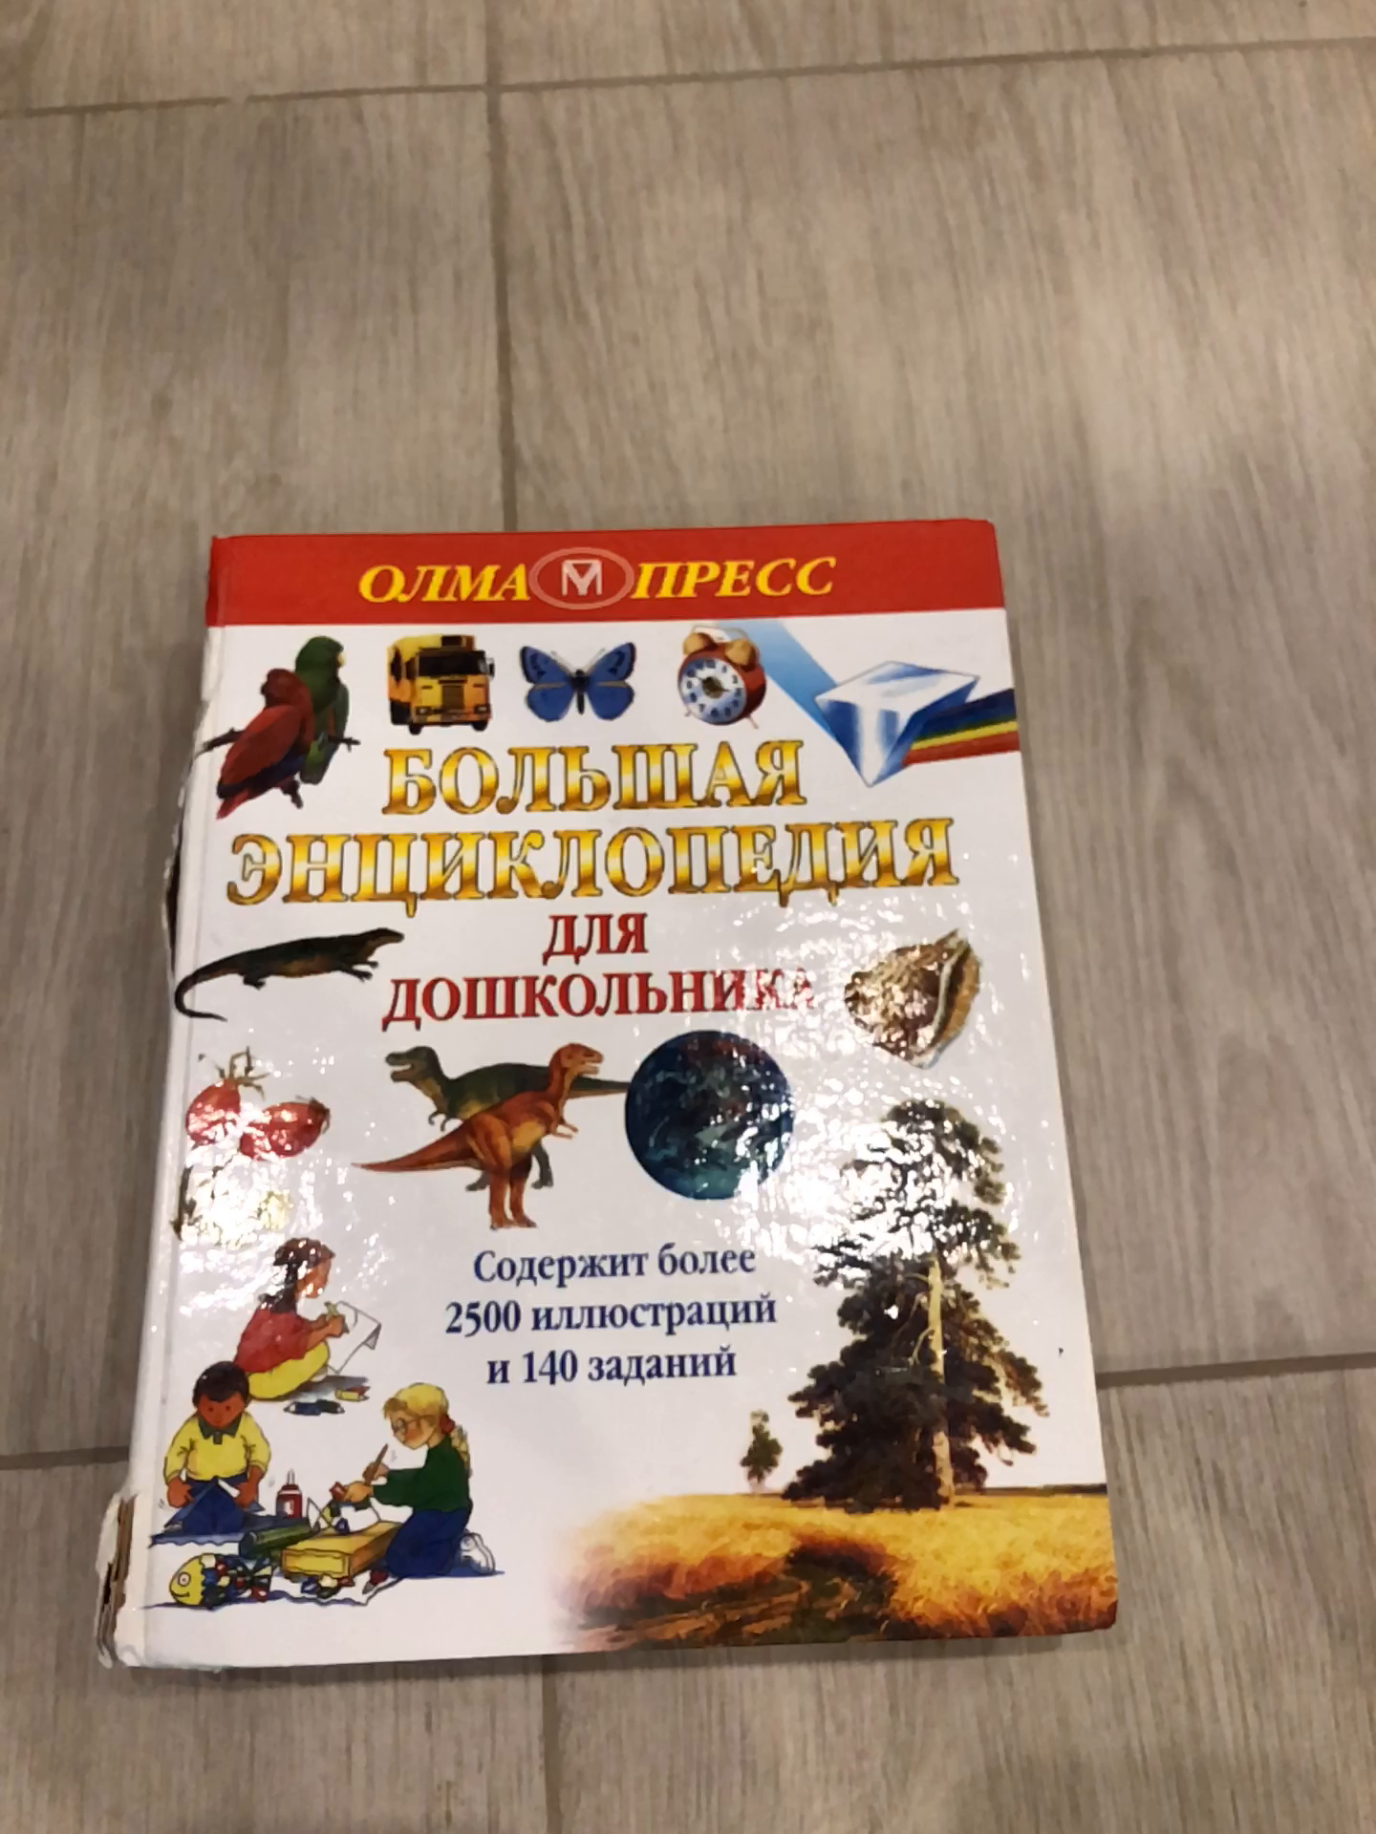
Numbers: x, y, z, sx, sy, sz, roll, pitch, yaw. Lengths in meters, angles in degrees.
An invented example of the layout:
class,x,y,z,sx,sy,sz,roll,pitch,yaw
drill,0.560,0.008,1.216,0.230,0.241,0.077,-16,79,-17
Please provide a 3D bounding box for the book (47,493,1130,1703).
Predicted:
class,x,y,z,sx,sy,sz,roll,pitch,yaw
book,-0.023,0.032,0.380,0.216,0.060,0.281,-1,70,-1
